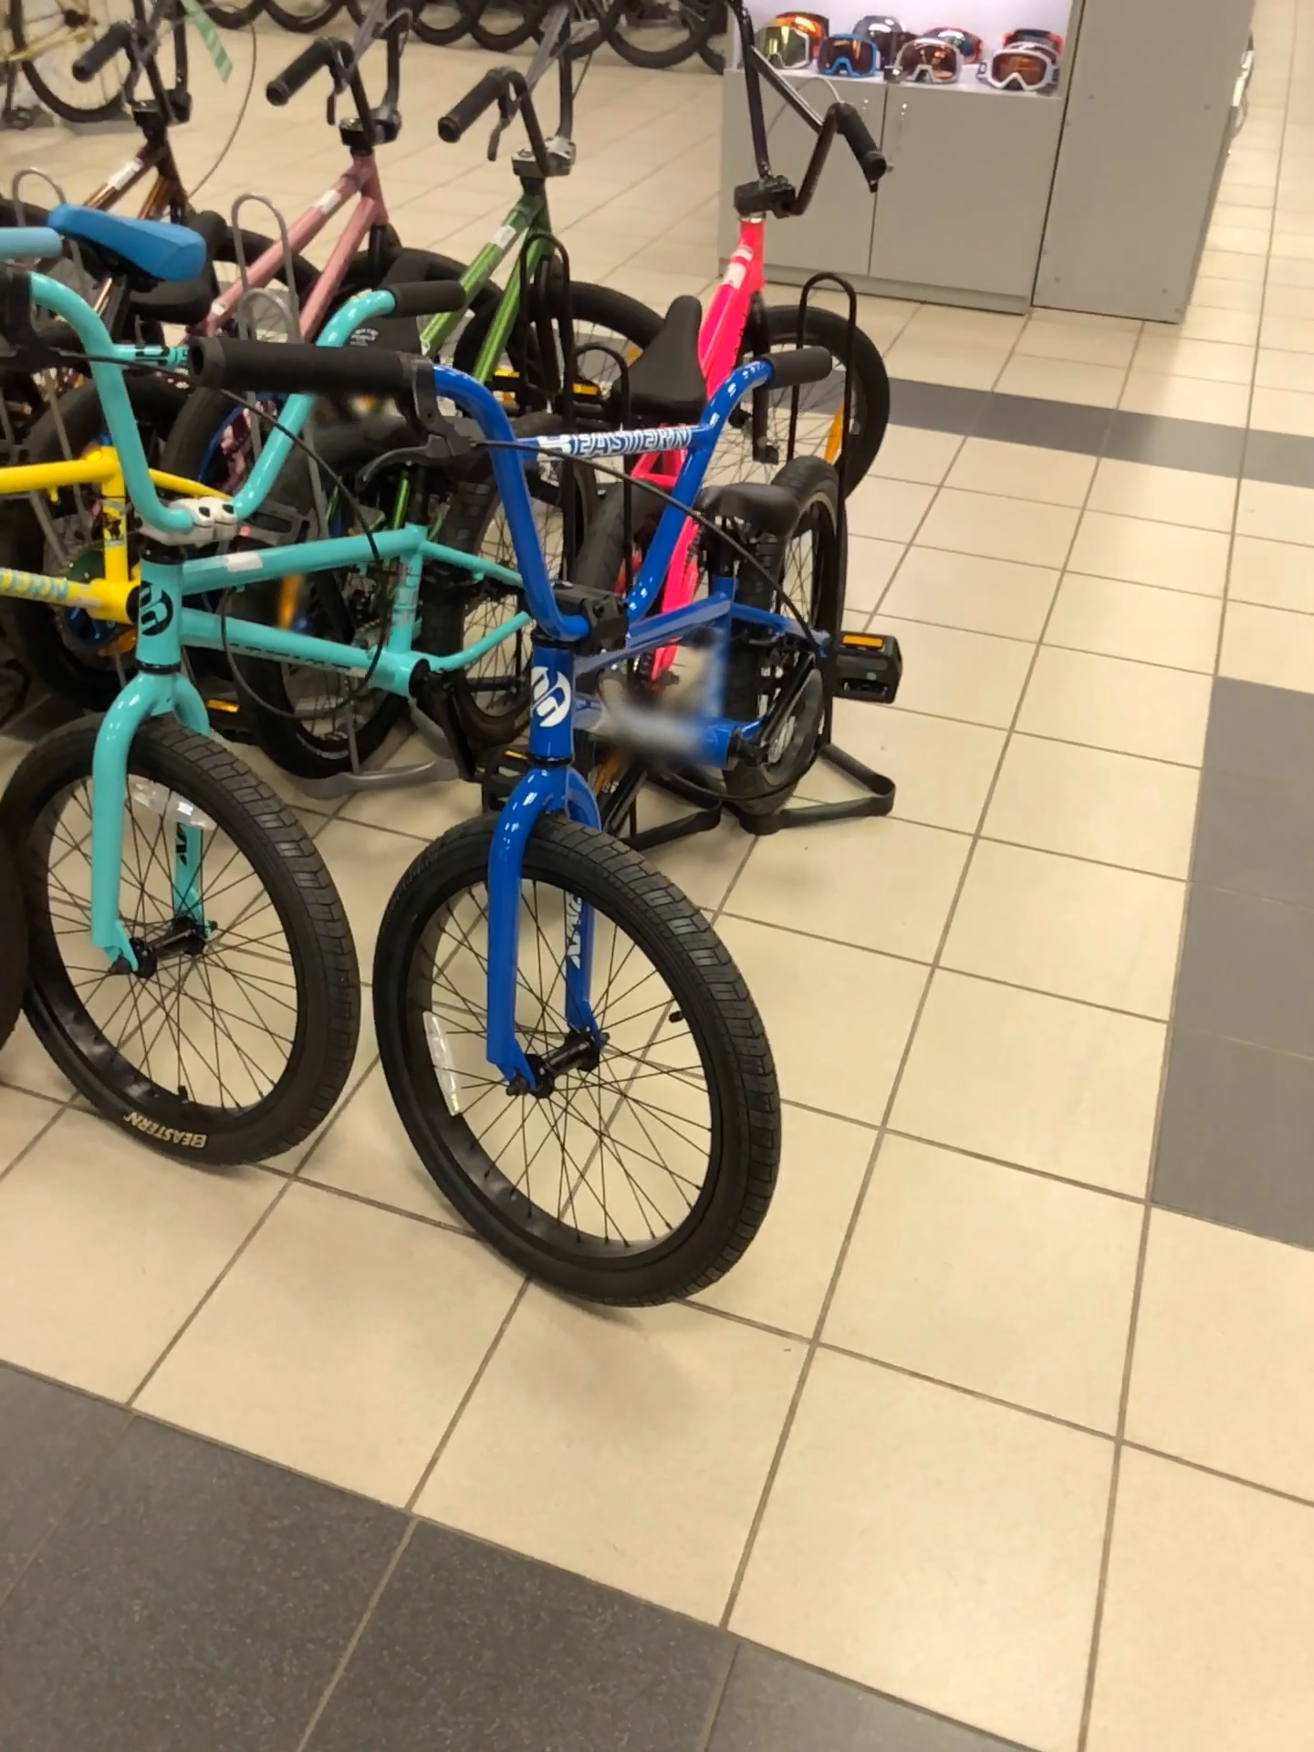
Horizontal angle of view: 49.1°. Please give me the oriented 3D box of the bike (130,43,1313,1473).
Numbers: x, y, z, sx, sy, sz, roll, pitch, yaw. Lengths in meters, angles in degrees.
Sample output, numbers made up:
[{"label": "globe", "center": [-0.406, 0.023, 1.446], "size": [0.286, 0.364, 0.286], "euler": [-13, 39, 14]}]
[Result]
[{"label": "bike", "center": [0.140, -0.285, 1.634], "size": [0.821, 0.961, 1.264], "euler": [8, 37, 8]}]
